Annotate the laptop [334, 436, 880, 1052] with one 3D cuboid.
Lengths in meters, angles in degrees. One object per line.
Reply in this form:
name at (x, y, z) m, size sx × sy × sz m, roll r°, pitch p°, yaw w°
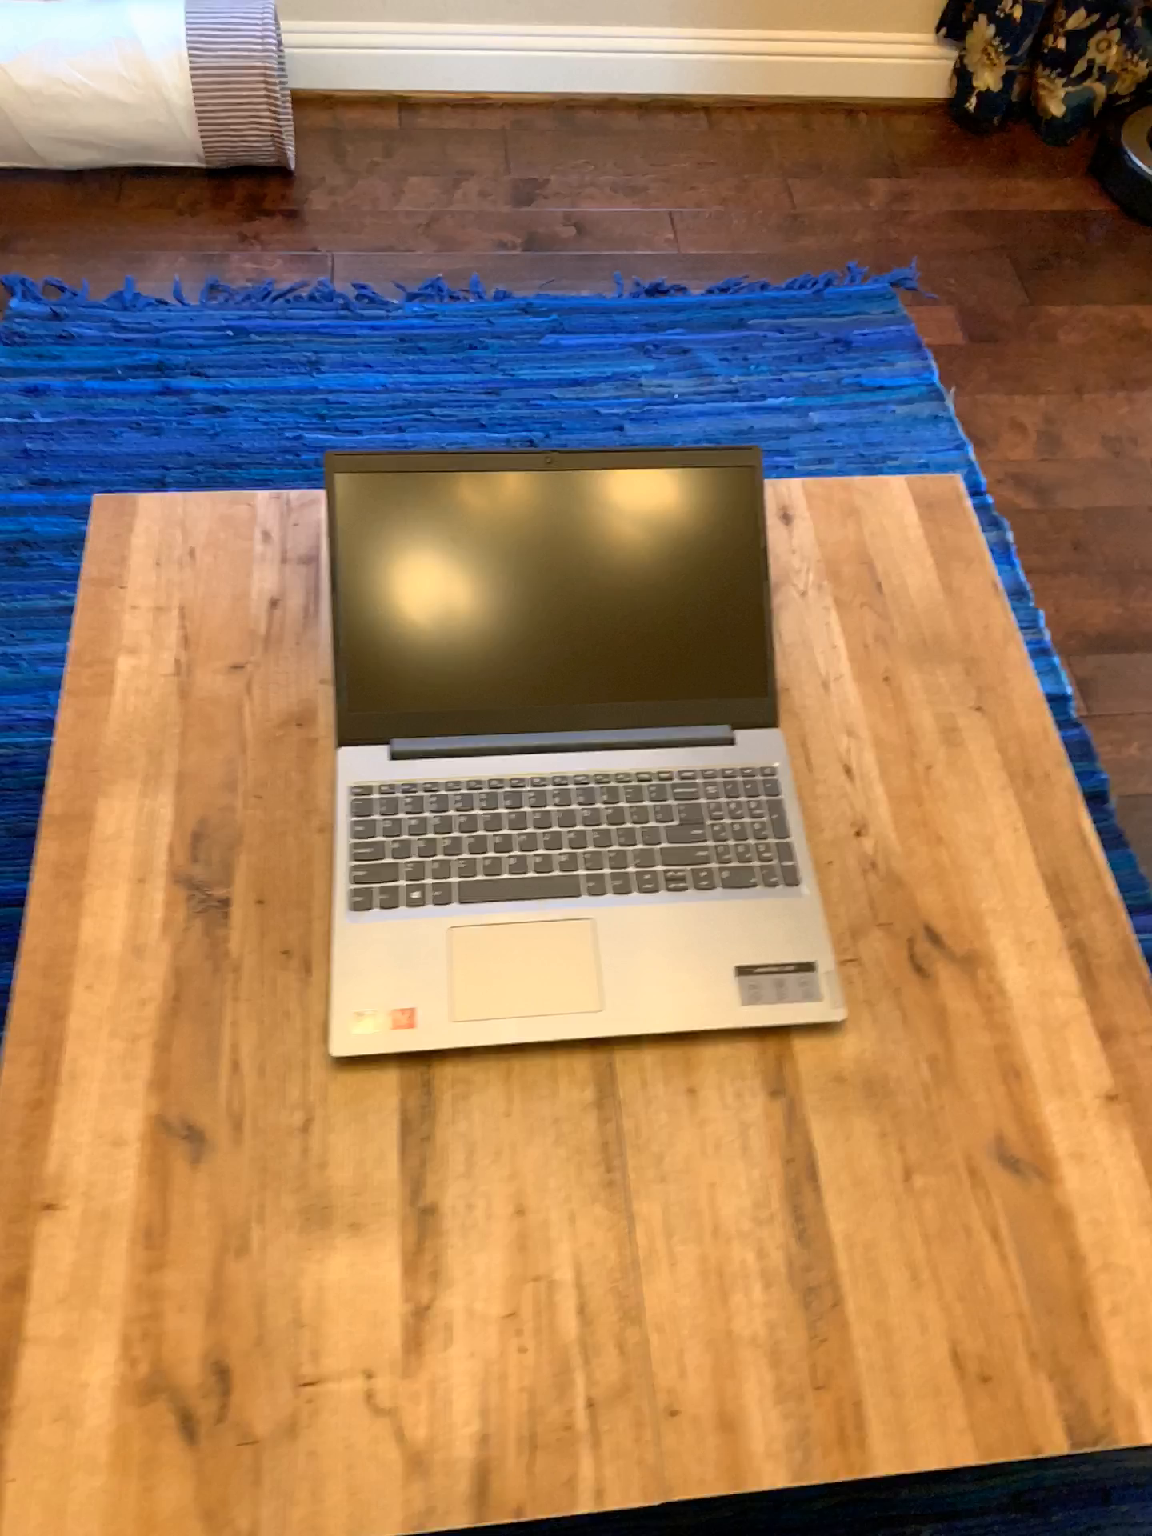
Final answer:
laptop at (0.003, -0.041, 0.893) m, size 0.346 × 0.099 × 0.462 m, roll -2°, pitch 61°, yaw -5°
